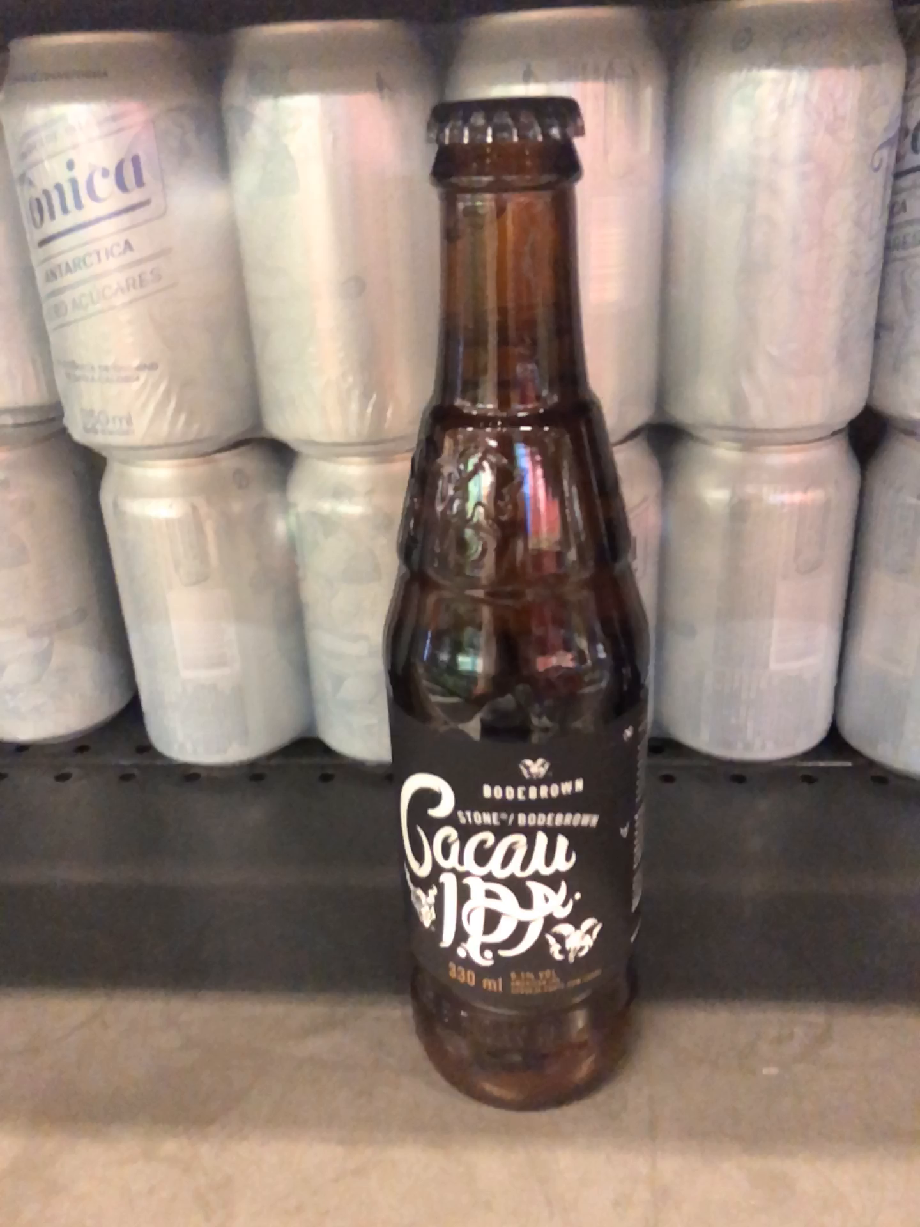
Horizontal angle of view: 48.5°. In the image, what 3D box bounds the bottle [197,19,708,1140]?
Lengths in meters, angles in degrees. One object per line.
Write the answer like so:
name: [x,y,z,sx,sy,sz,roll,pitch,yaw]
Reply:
bottle: [0.009,0.005,0.243,0.080,0.248,0.070,4,28,11]
